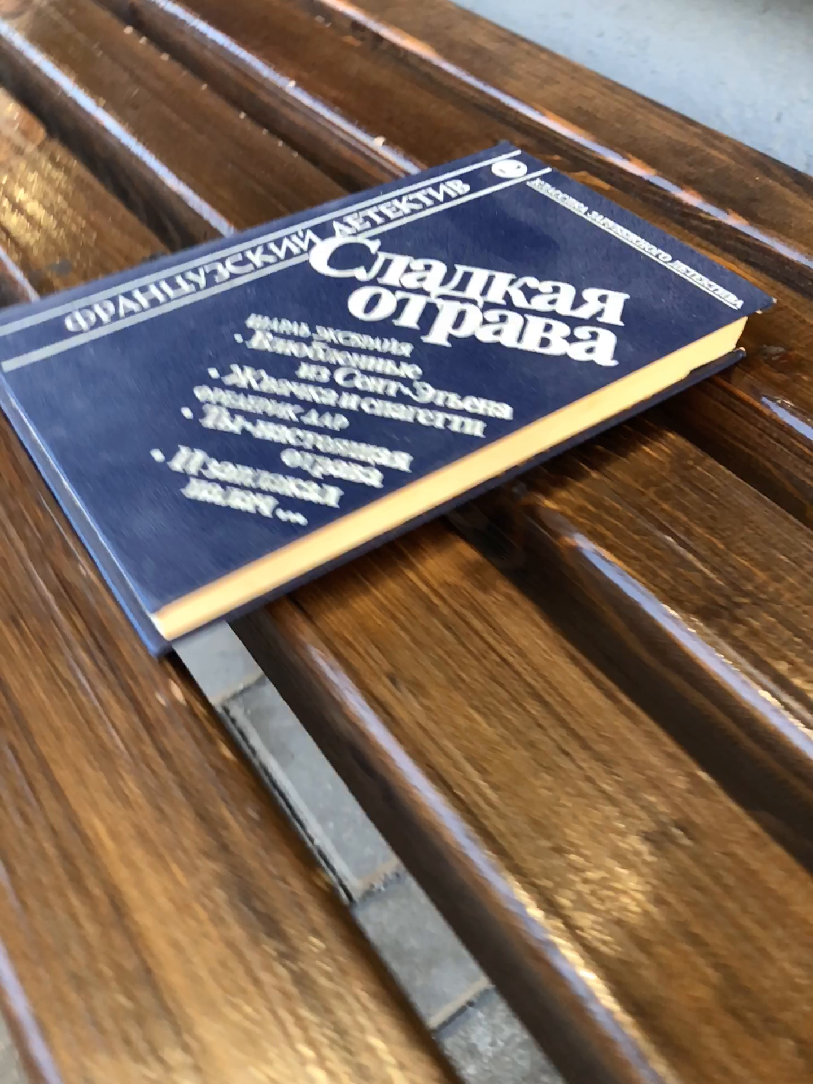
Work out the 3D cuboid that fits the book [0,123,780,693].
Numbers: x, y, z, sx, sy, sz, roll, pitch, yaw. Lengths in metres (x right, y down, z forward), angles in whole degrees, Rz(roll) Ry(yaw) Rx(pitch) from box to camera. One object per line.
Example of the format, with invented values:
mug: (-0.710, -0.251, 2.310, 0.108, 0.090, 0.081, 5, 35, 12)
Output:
book: (-0.013, -0.061, 0.276, 0.212, 0.030, 0.133, -28, 55, -23)
